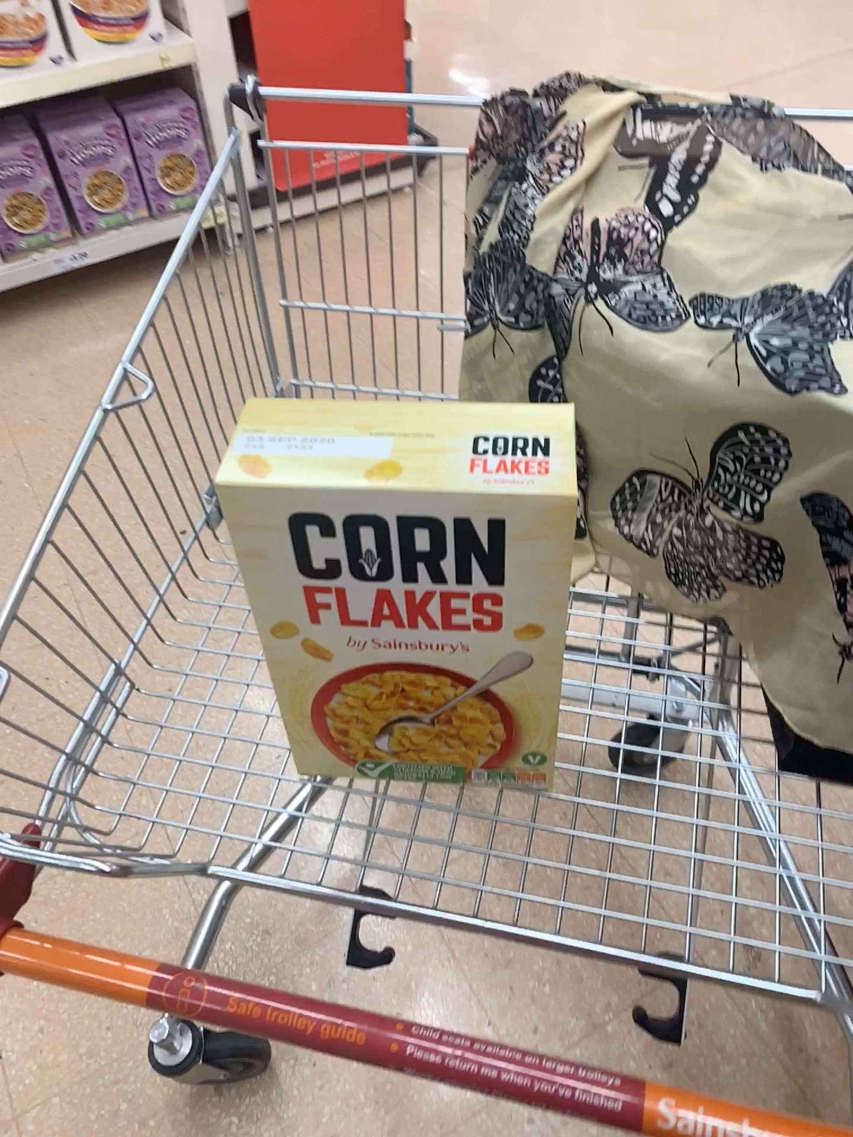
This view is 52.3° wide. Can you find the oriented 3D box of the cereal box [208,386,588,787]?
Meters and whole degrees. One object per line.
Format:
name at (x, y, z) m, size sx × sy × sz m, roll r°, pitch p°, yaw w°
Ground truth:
cereal box at (-0.007, 0.026, 0.558) m, size 0.190 × 0.278 × 0.081 m, roll 2°, pitch 46°, yaw 5°
